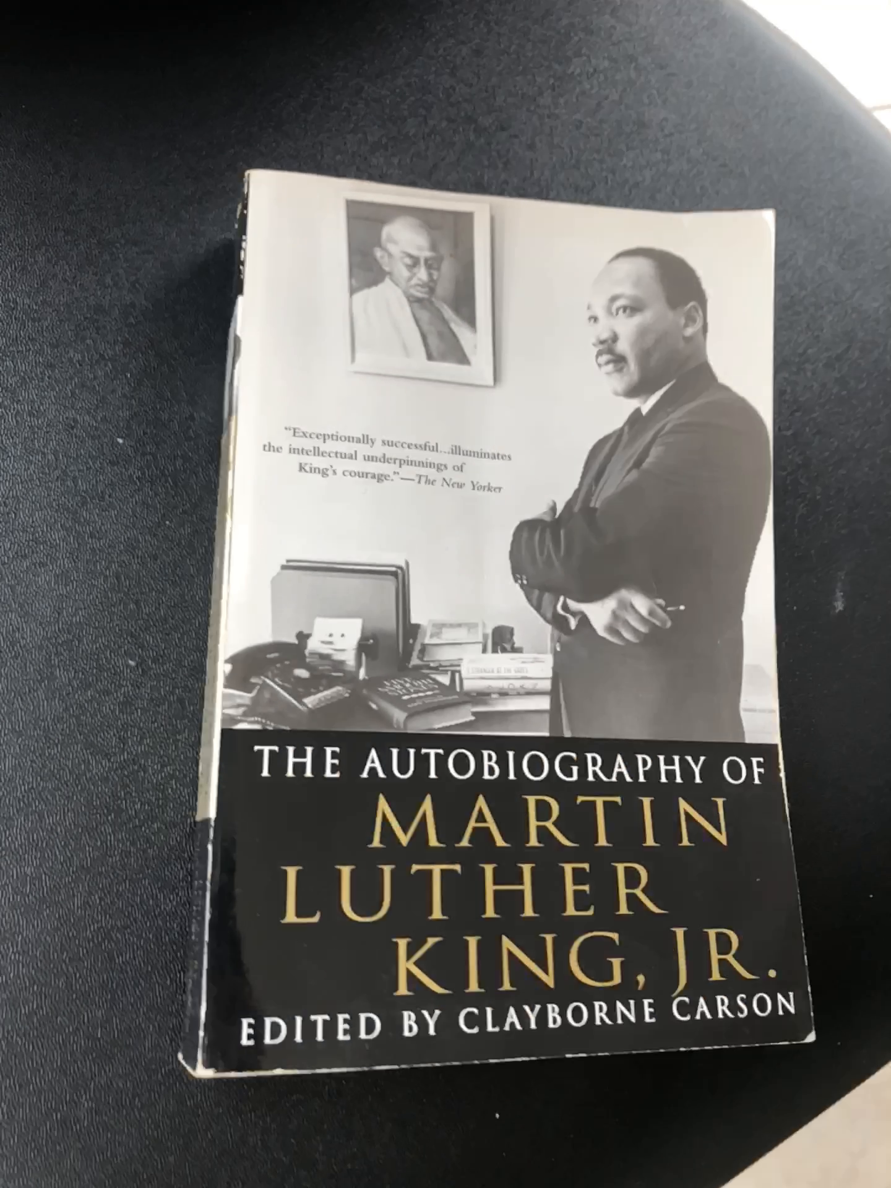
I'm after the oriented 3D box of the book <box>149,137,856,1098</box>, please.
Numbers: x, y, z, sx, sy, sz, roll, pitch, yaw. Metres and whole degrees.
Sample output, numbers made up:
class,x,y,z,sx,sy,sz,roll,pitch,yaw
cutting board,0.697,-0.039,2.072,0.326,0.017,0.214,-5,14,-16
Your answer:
class,x,y,z,sx,sy,sz,roll,pitch,yaw
book,0.016,0.003,0.269,0.160,0.050,0.230,3,78,-8
